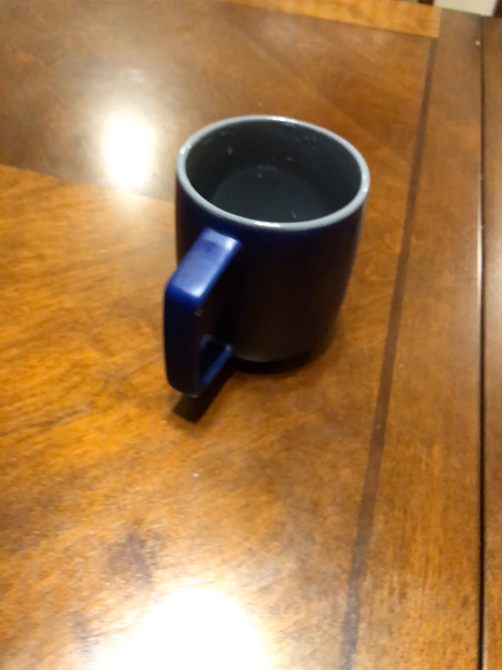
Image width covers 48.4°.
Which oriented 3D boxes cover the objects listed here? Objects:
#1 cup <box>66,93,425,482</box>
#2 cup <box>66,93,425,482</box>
[{"bbox_3d":[0.004,-0.030,0.278,0.100,0.099,0.141,24,52,15],"label":"cup"},{"bbox_3d":[0.004,-0.030,0.278,0.100,0.099,0.141,24,52,15],"label":"cup"}]
